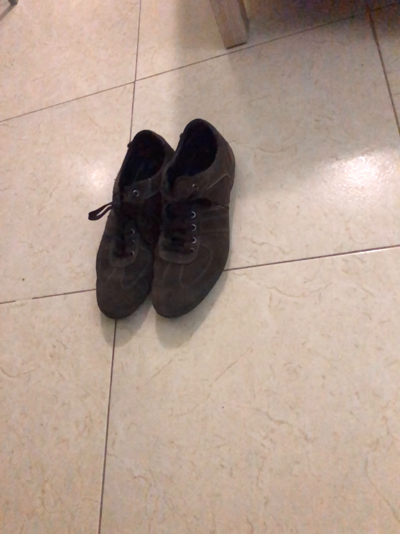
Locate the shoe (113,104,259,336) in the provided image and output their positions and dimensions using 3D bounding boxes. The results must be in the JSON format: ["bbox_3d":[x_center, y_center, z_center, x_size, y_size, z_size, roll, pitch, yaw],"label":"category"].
[{"bbox_3d":[-0.007,-0.069,0.627,0.110,0.110,0.300,4,68,23],"label":"shoe"}]

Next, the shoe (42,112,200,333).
[{"bbox_3d":[-0.104,-0.069,0.659,0.120,0.110,0.300,3,67,23],"label":"shoe"}]
